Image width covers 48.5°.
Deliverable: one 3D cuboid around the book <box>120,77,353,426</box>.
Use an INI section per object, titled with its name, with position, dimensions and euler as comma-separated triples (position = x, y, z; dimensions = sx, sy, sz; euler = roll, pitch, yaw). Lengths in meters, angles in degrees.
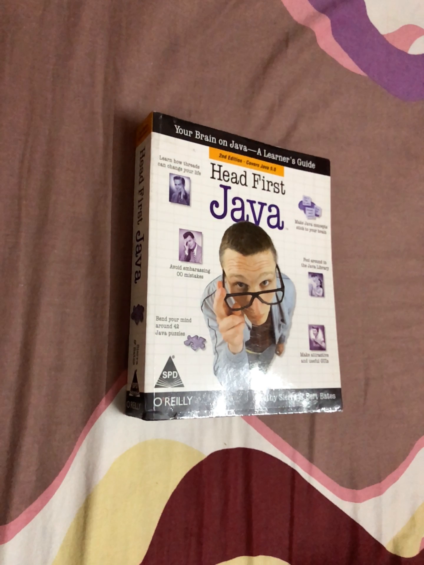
[book]
position = 0.025, -0.019, 0.406
dimensions = 0.191, 0.050, 0.260
euler = 6, 78, -28
